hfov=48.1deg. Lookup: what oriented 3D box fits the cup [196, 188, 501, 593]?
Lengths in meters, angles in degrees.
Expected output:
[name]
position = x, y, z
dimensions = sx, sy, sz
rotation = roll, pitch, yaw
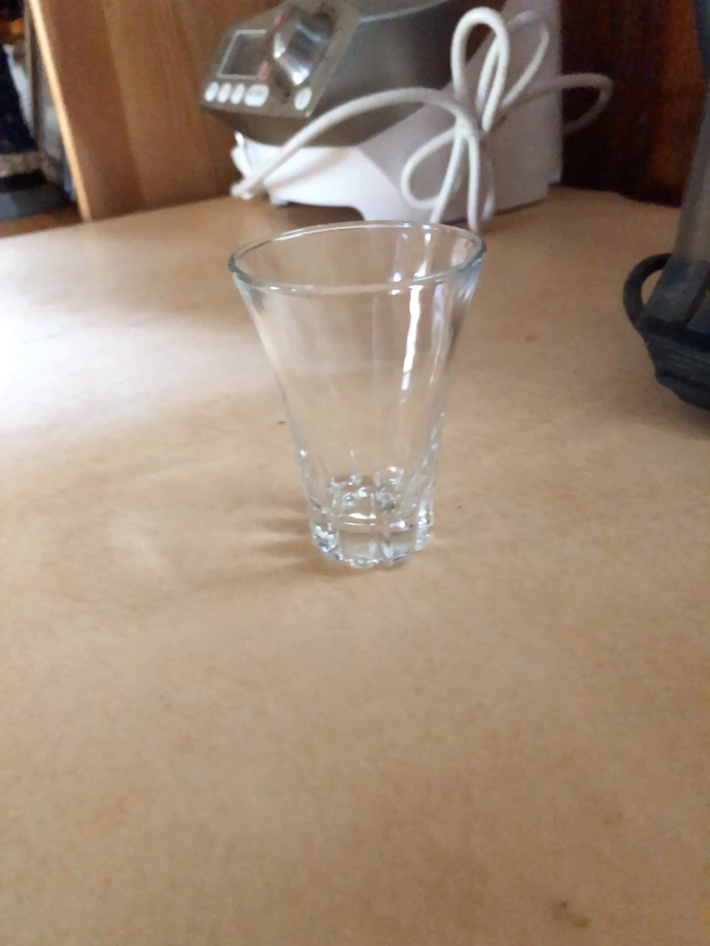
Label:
[cup]
position = -0.002, -0.021, 0.181
dimensions = 0.050, 0.070, 0.050
rotation = -4, 30, 2
